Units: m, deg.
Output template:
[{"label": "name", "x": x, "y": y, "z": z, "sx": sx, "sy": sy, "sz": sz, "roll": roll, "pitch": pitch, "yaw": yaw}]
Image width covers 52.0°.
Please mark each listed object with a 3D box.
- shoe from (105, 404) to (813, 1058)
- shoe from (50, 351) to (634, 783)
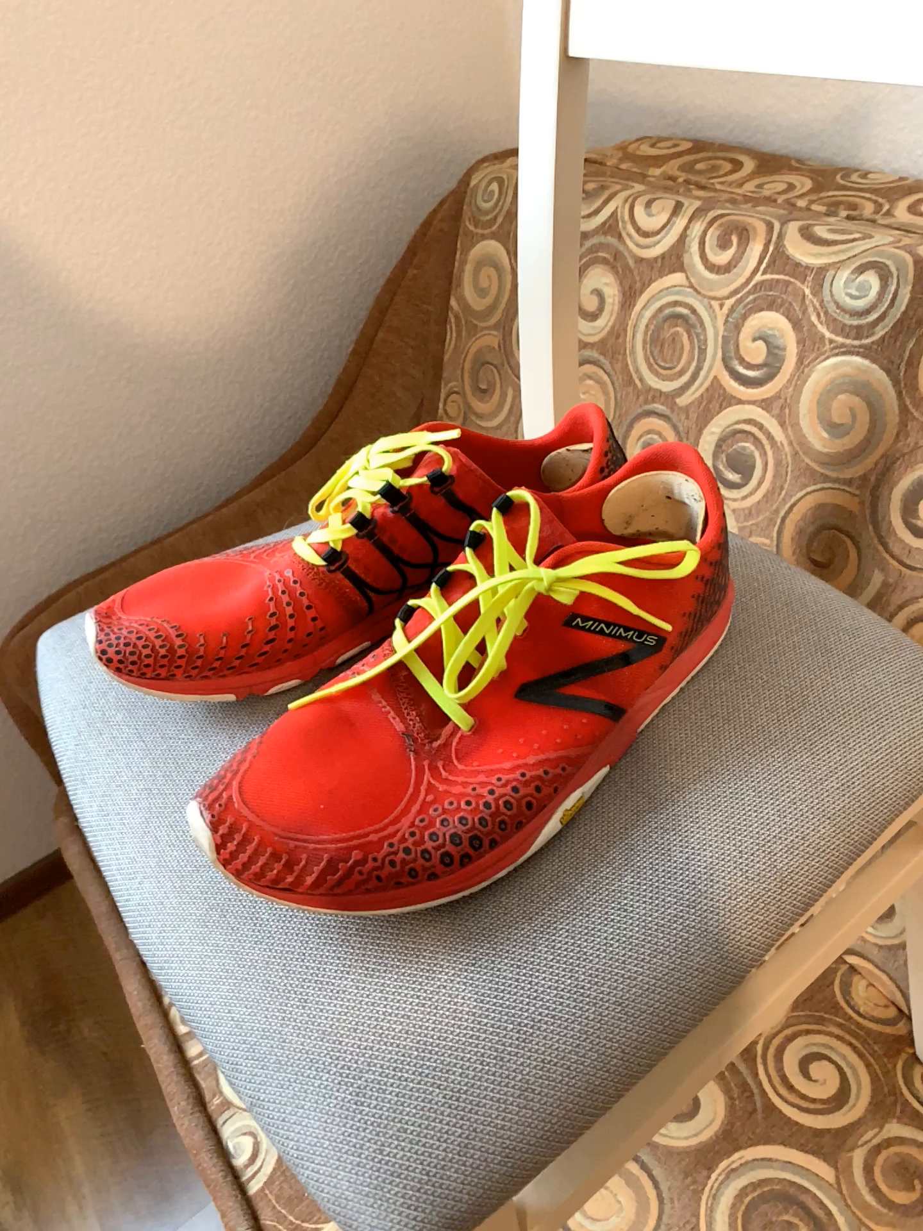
[{"label": "shoe", "x": 0.013, "y": 0.026, "z": 0.383, "sx": 0.260, "sy": 0.090, "sz": 0.111, "roll": -35, "pitch": 44, "yaw": -23}, {"label": "shoe", "x": -0.059, "y": -0.031, "z": 0.478, "sx": 0.260, "sy": 0.090, "sz": 0.111, "roll": -21, "pitch": 40, "yaw": -8}]
